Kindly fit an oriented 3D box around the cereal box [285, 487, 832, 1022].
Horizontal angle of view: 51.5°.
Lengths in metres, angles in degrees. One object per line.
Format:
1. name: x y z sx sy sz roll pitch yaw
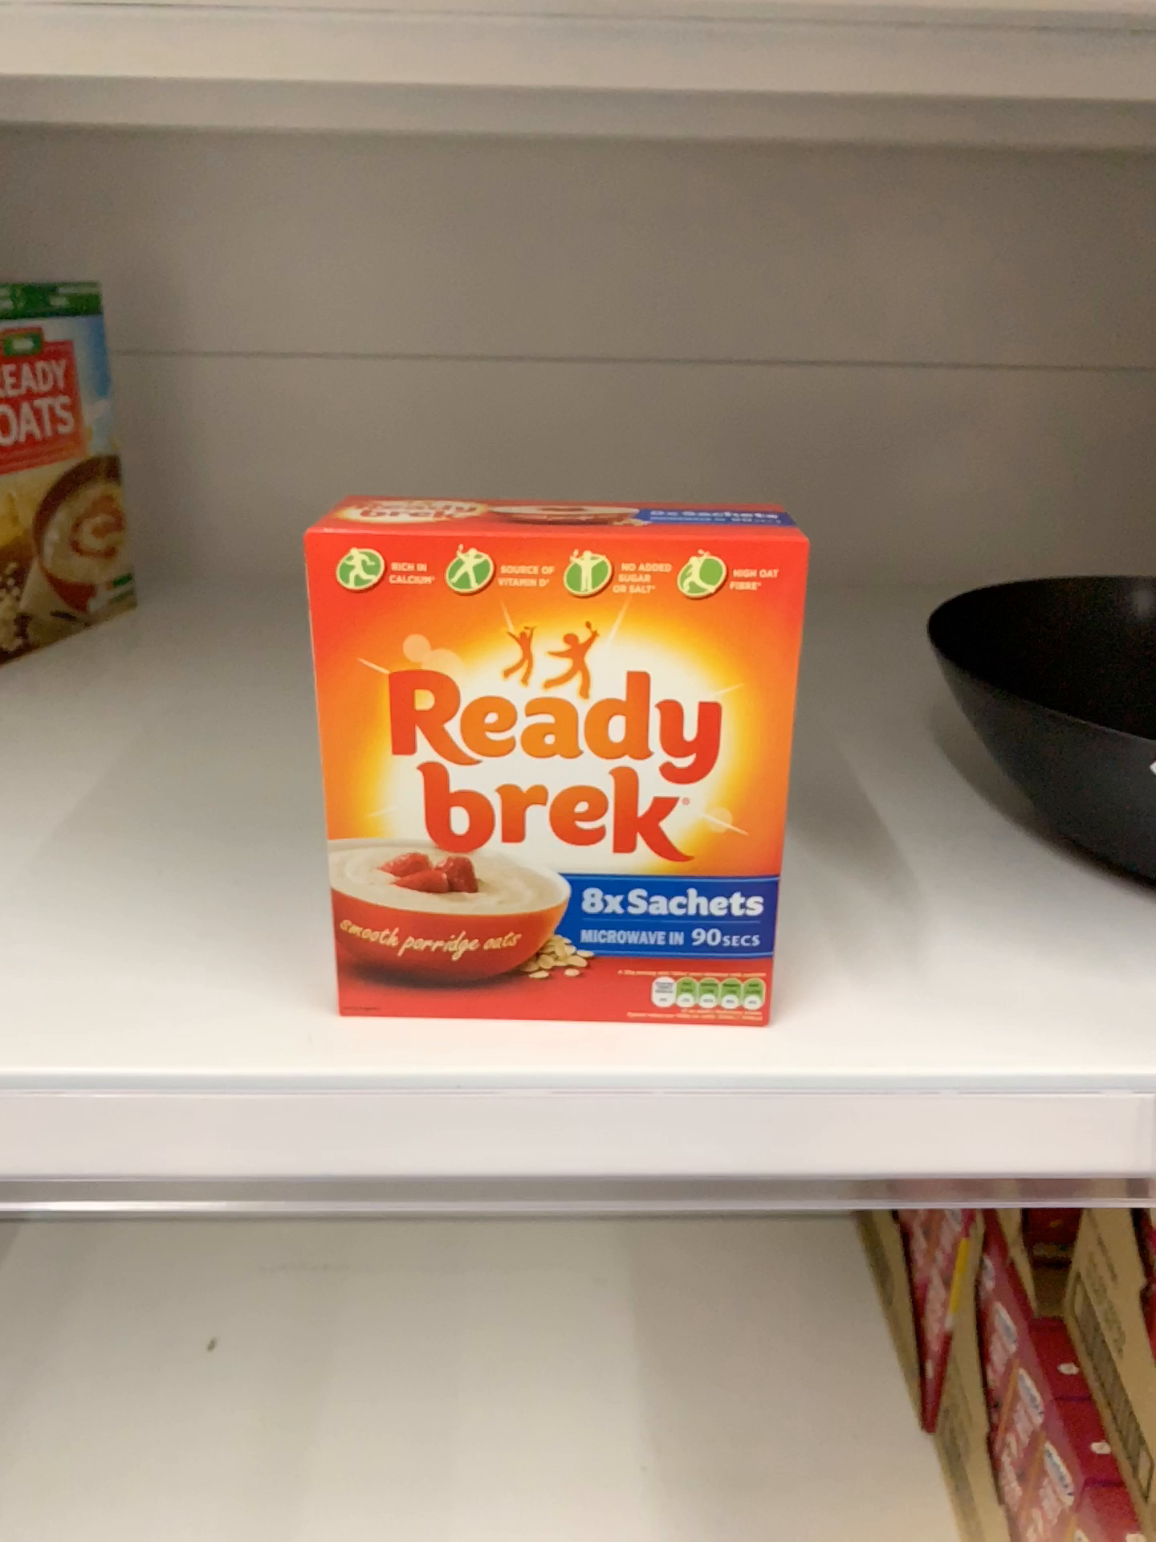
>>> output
1. cereal box: -0.008 -0.006 0.463 0.180 0.189 0.071 1 22 0
